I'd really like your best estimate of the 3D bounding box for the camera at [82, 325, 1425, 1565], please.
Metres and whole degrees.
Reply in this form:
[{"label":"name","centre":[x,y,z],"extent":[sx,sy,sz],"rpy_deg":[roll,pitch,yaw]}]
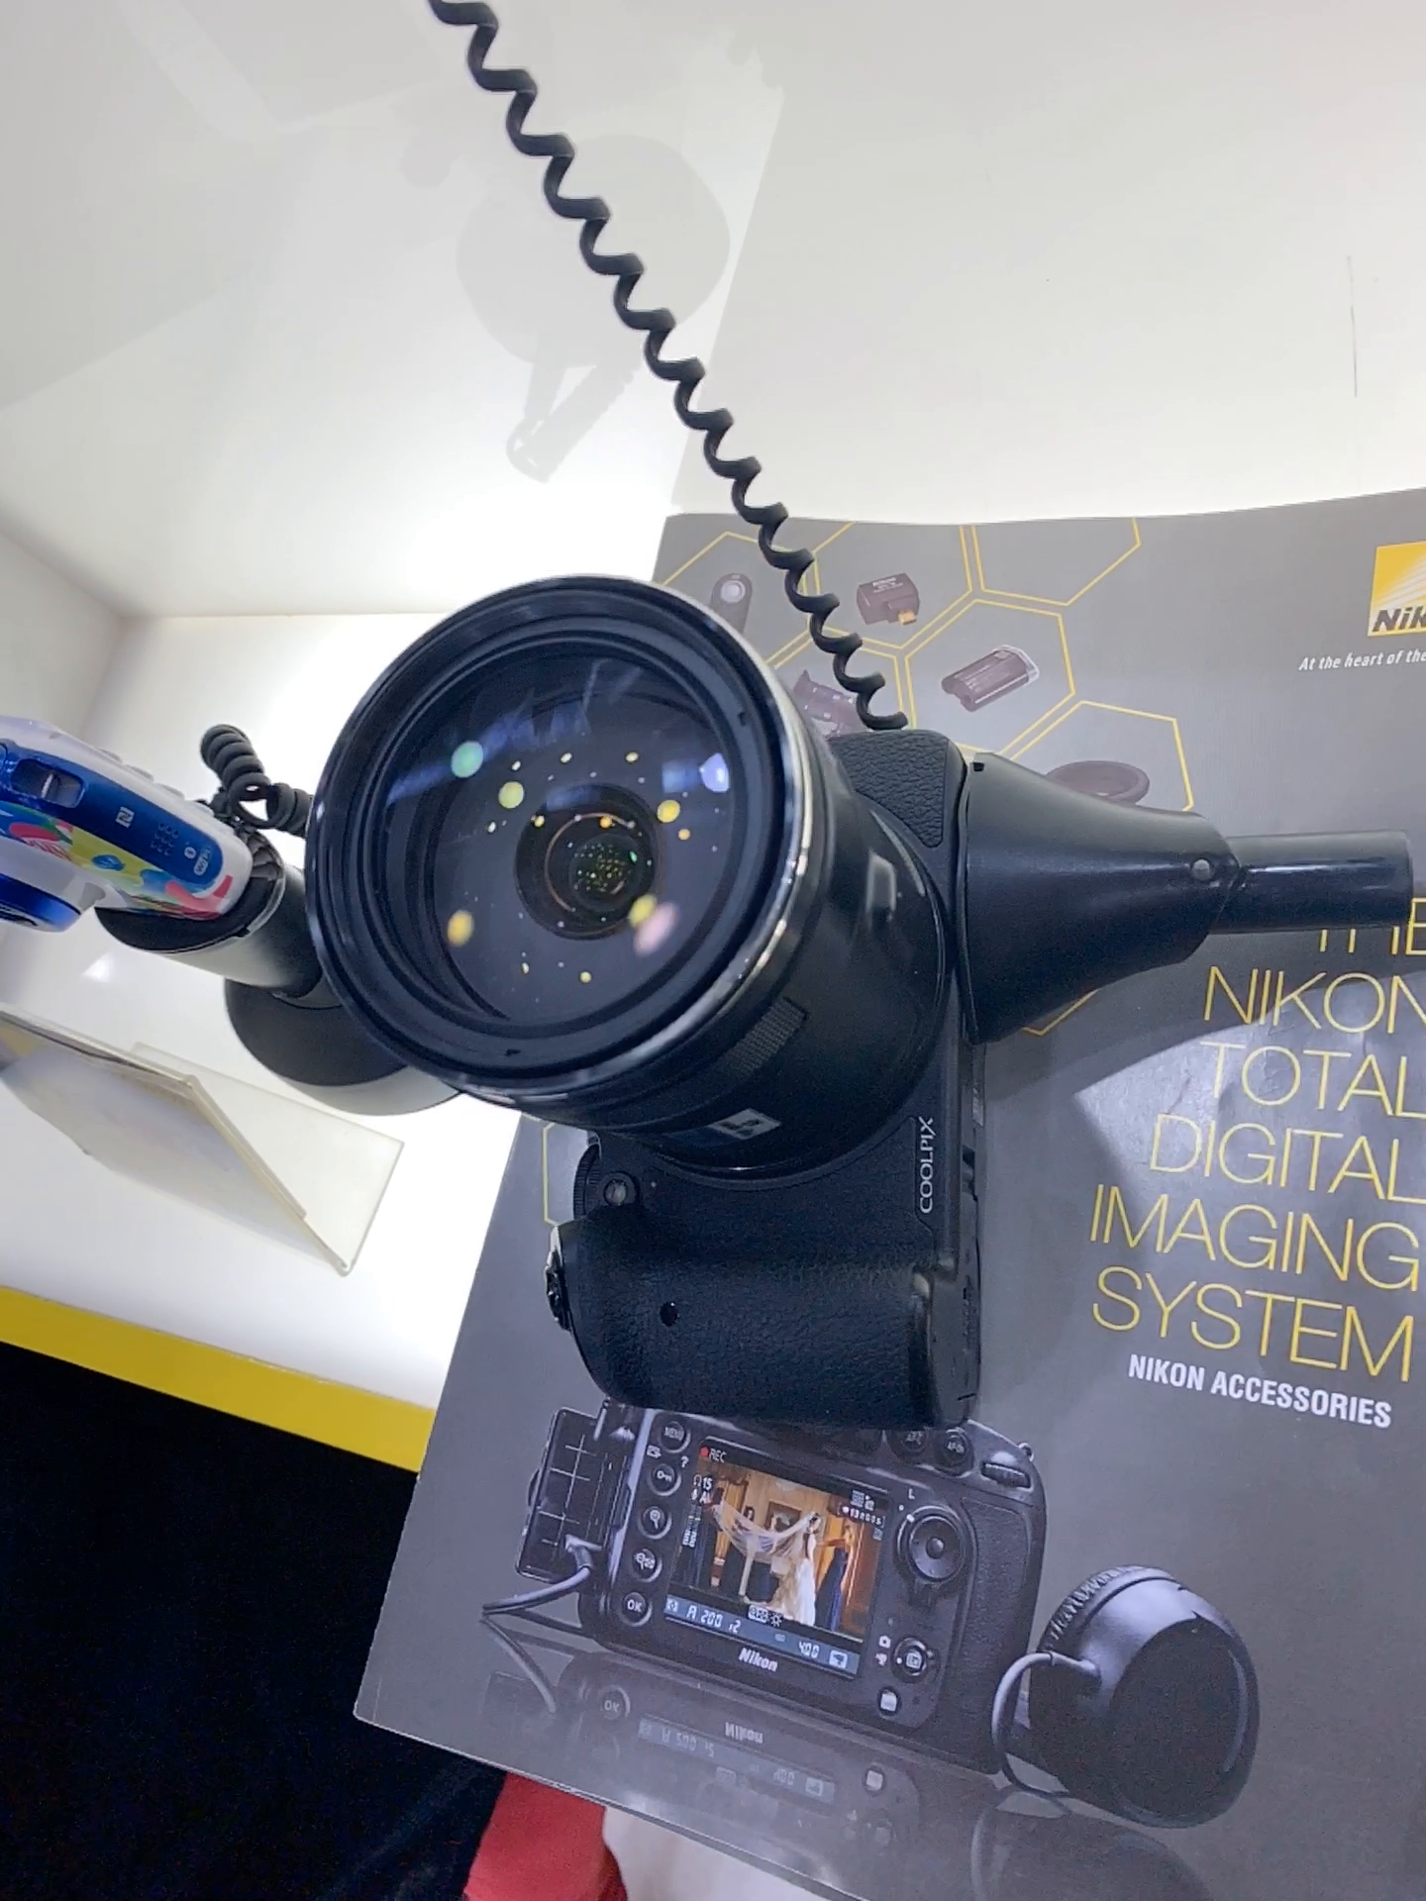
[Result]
[{"label":"camera","centre":[0.035,0.006,0.229],"extent":[0.200,0.100,0.140],"rpy_deg":[0,71,16]}]
